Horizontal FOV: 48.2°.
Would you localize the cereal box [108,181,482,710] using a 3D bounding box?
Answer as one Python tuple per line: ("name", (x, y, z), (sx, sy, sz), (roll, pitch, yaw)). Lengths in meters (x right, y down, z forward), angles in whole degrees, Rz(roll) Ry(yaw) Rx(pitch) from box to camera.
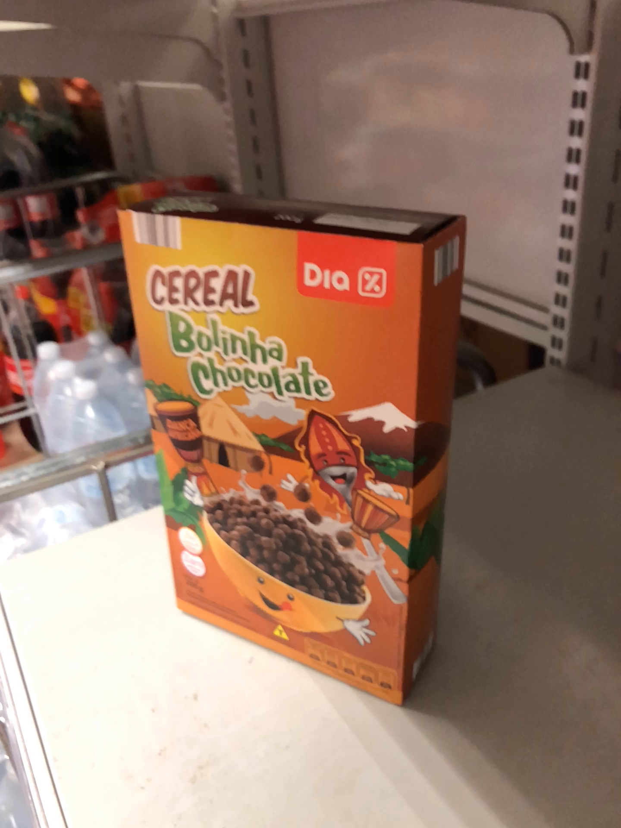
("cereal box", (-0.011, 0.016, 0.385), (0.170, 0.258, 0.060), (14, 30, 26))
